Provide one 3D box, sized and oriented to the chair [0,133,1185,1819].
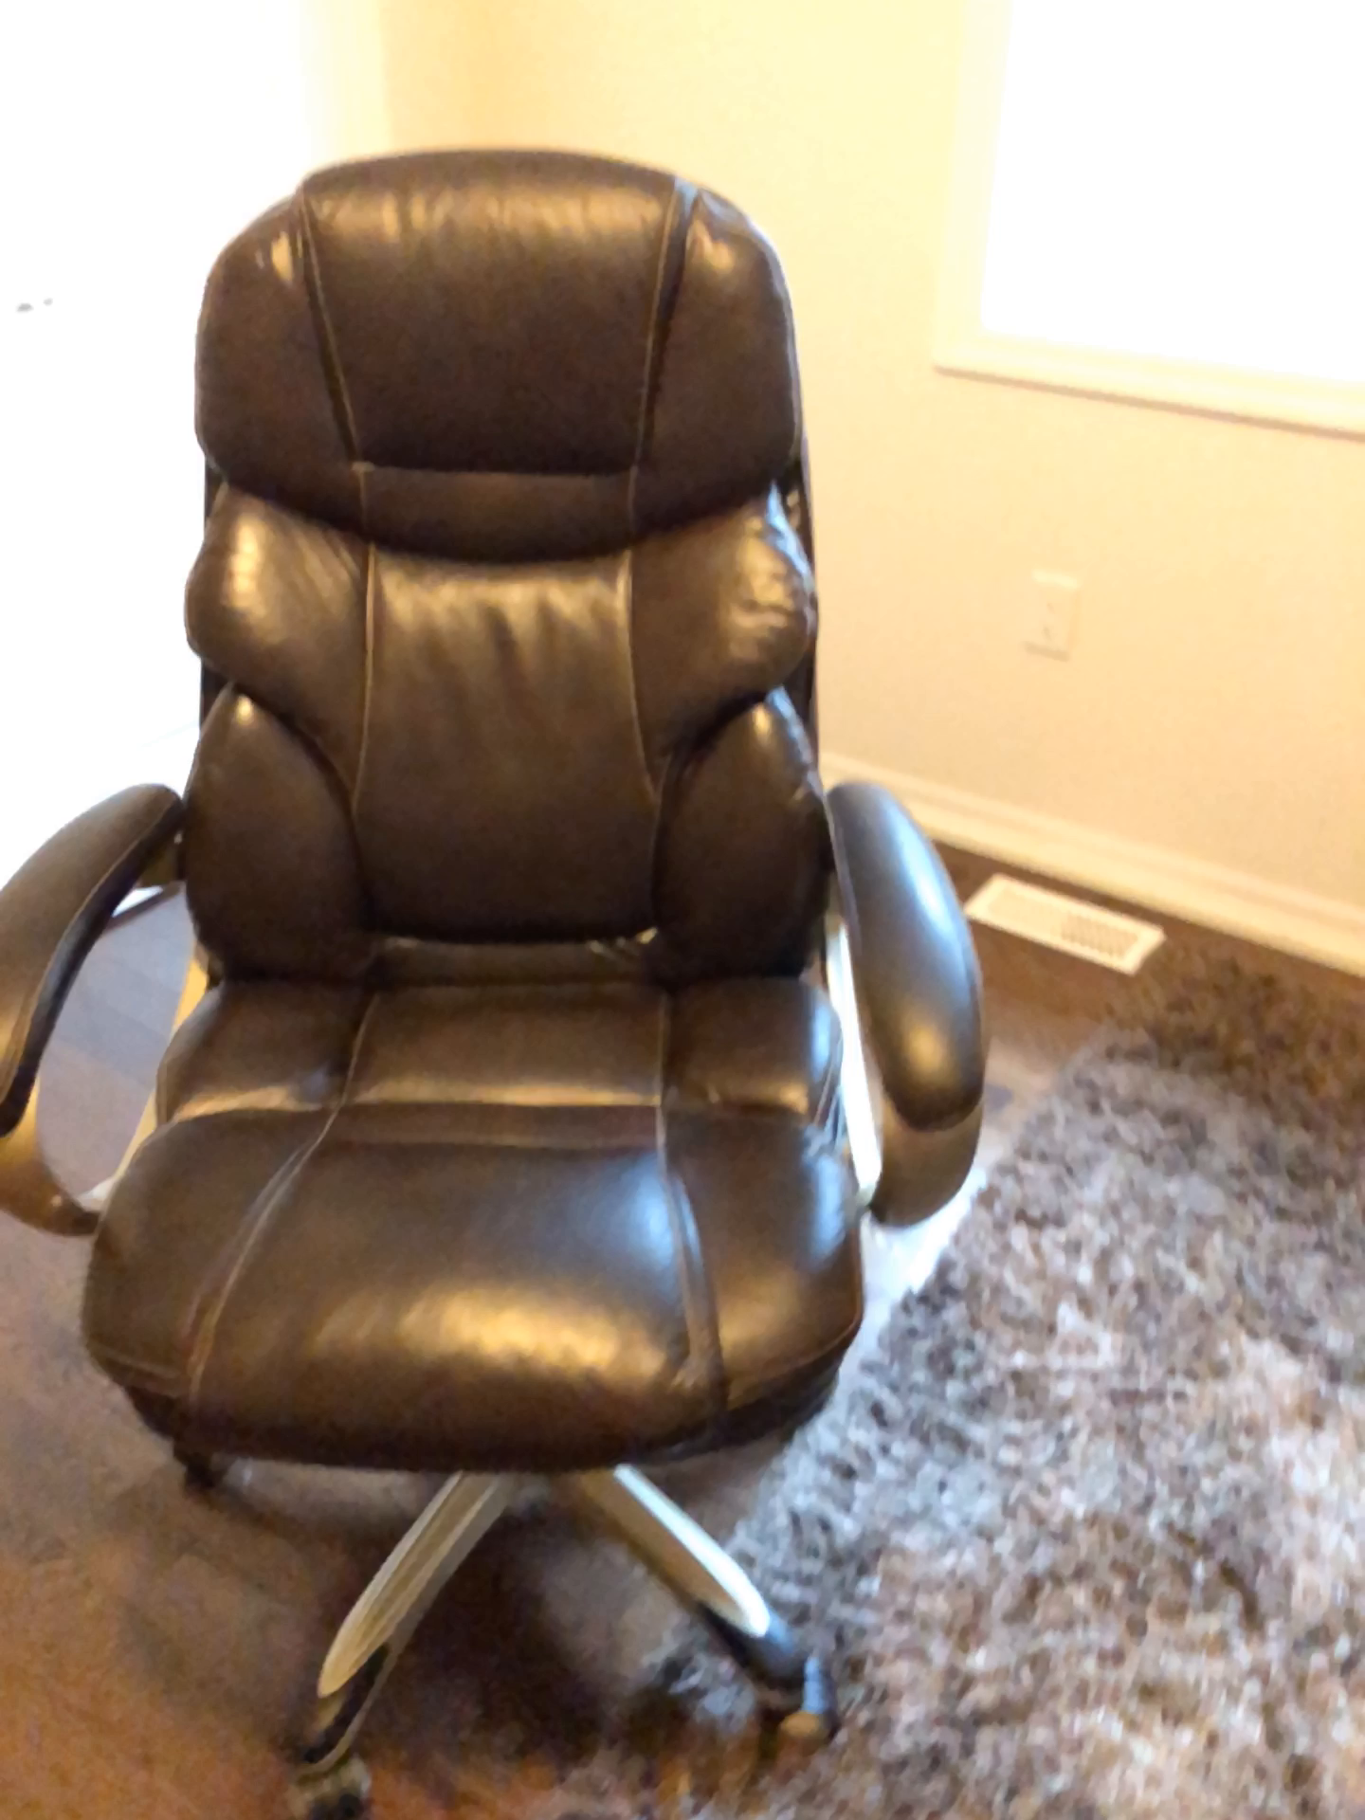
[{"bbox_3d":[-0.160,0.064,1.187,0.730,1.135,0.743,2,32,3],"label":"chair"}]
